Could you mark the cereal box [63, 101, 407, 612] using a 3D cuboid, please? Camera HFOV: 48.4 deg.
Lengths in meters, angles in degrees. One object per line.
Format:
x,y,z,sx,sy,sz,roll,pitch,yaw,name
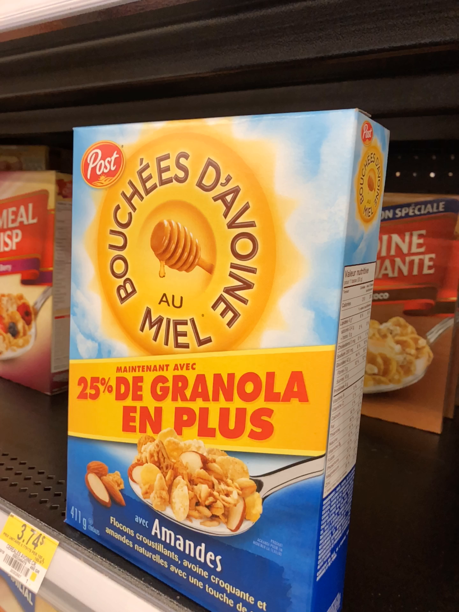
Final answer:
-0.014,0.031,0.310,0.190,0.269,0.060,11,10,36,cereal box
